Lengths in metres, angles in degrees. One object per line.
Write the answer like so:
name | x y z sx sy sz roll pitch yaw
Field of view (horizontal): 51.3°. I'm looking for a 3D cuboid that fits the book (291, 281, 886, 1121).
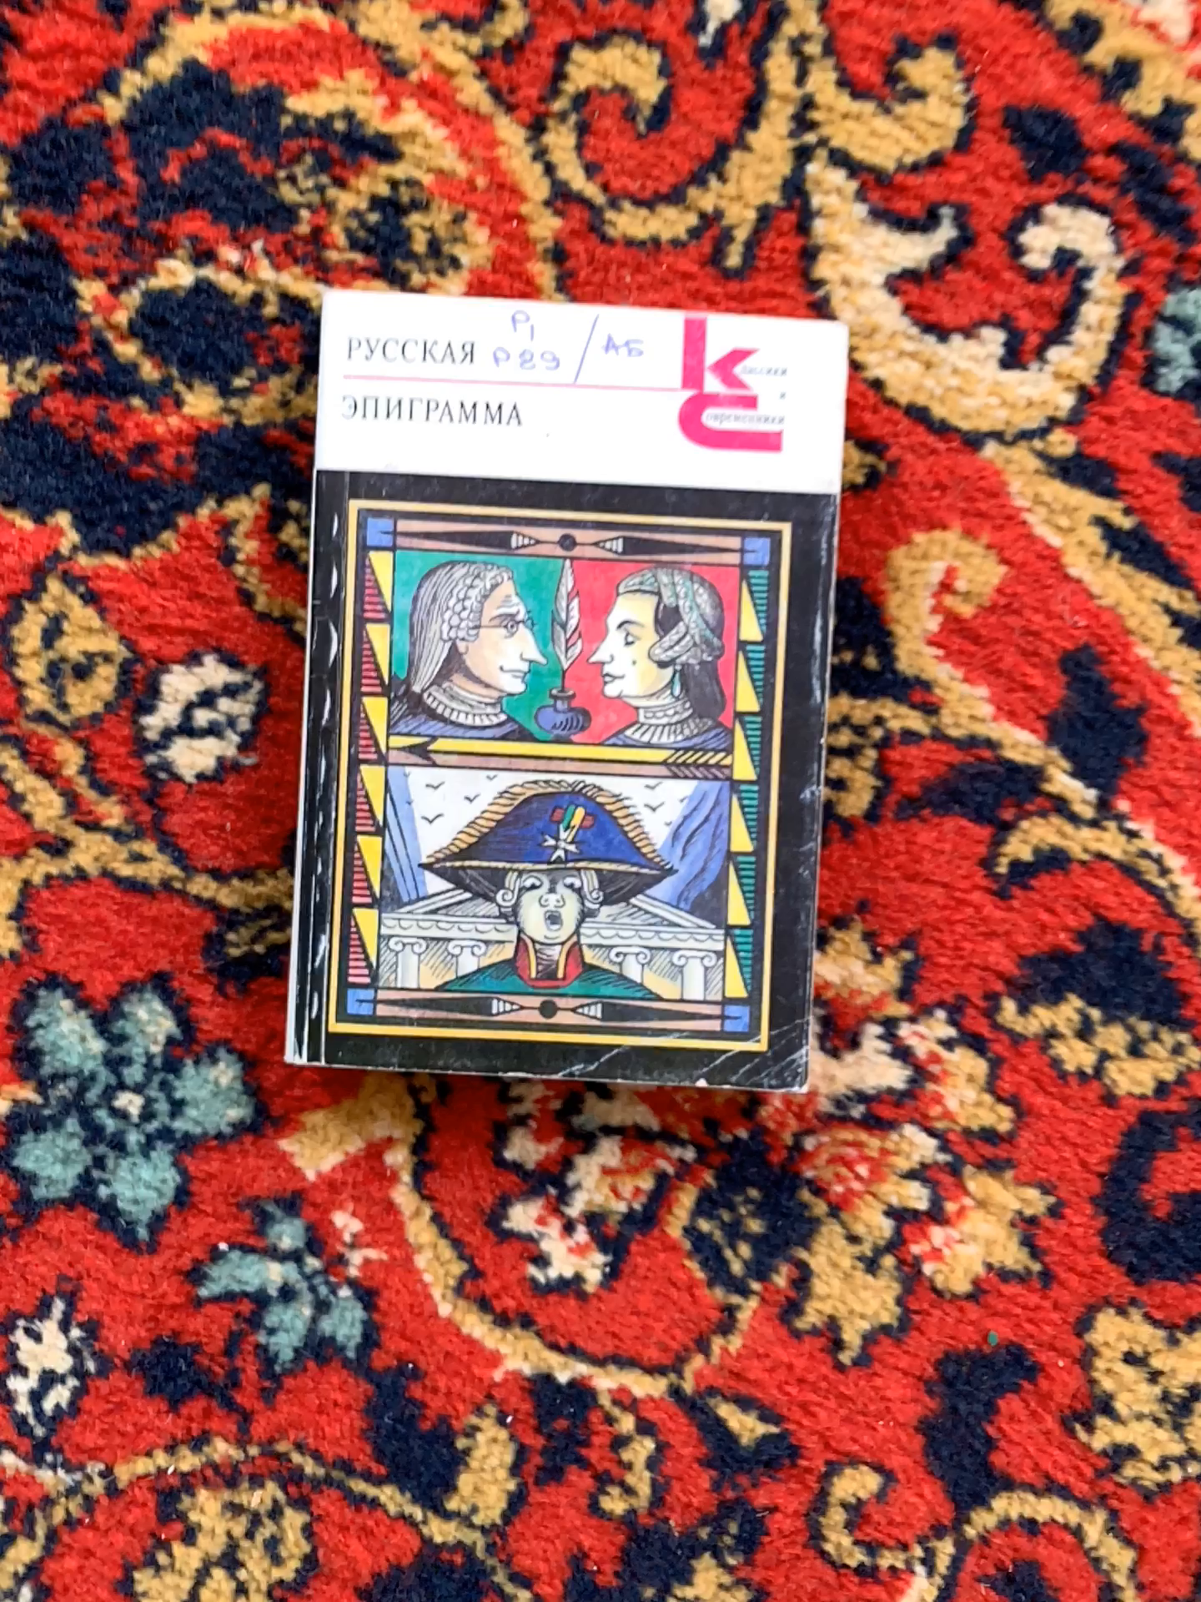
book | -0.003 -0.020 0.264 0.110 0.022 0.163 4 91 0
